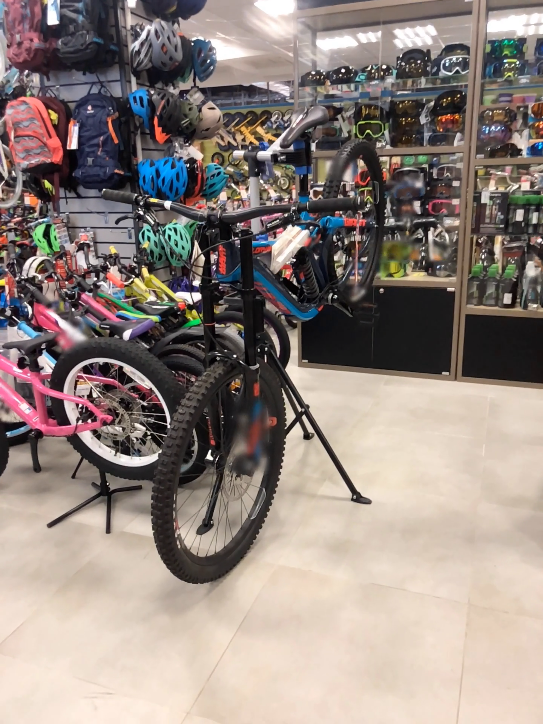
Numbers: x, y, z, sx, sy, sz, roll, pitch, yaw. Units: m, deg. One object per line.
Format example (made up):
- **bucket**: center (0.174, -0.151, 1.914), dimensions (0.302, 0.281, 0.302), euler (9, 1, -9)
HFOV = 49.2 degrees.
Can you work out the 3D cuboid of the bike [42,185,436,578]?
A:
- **bike**: center (-0.004, -0.117, 2.012), dimensions (0.659, 0.181, 1.530), euler (10, 46, 29)
